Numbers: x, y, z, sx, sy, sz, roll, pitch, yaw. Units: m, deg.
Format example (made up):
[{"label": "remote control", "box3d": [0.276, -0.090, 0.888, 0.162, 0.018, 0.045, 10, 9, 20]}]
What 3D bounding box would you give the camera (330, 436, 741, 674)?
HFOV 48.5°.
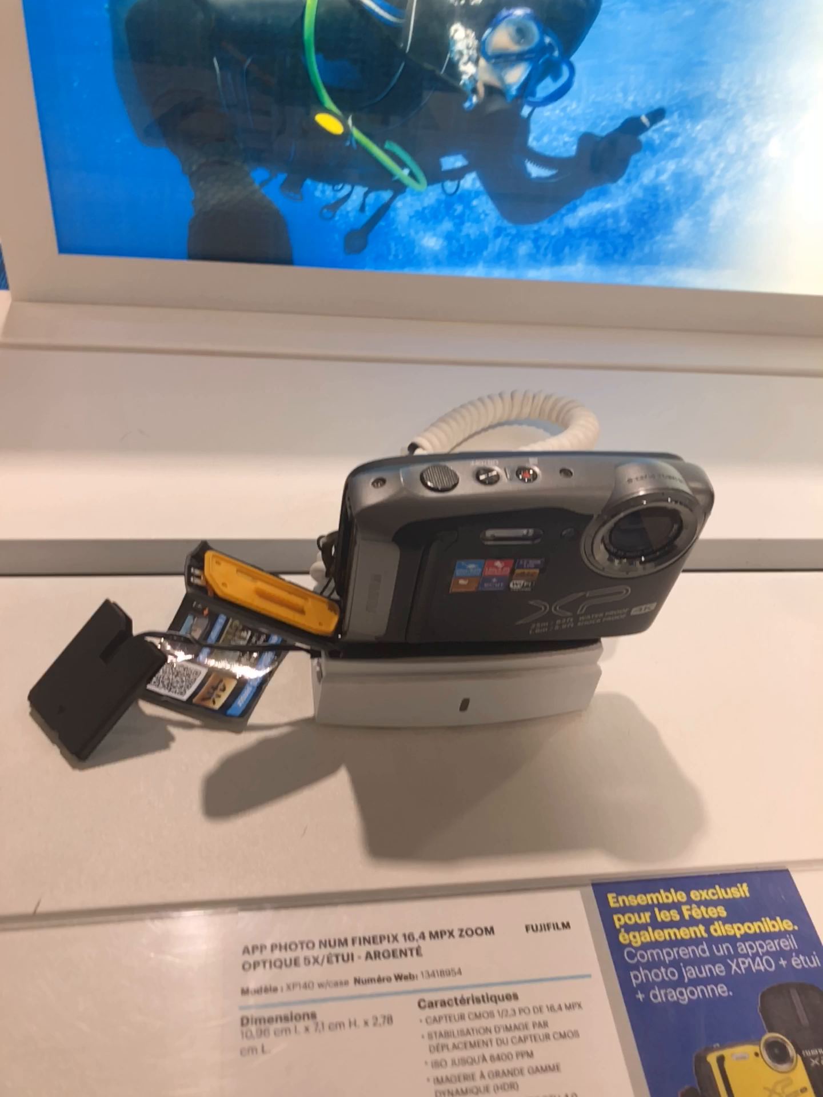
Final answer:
[{"label": "camera", "box3d": [0.032, 0.002, 0.269, 0.106, 0.069, 0.023, -2, 43, -12]}]
